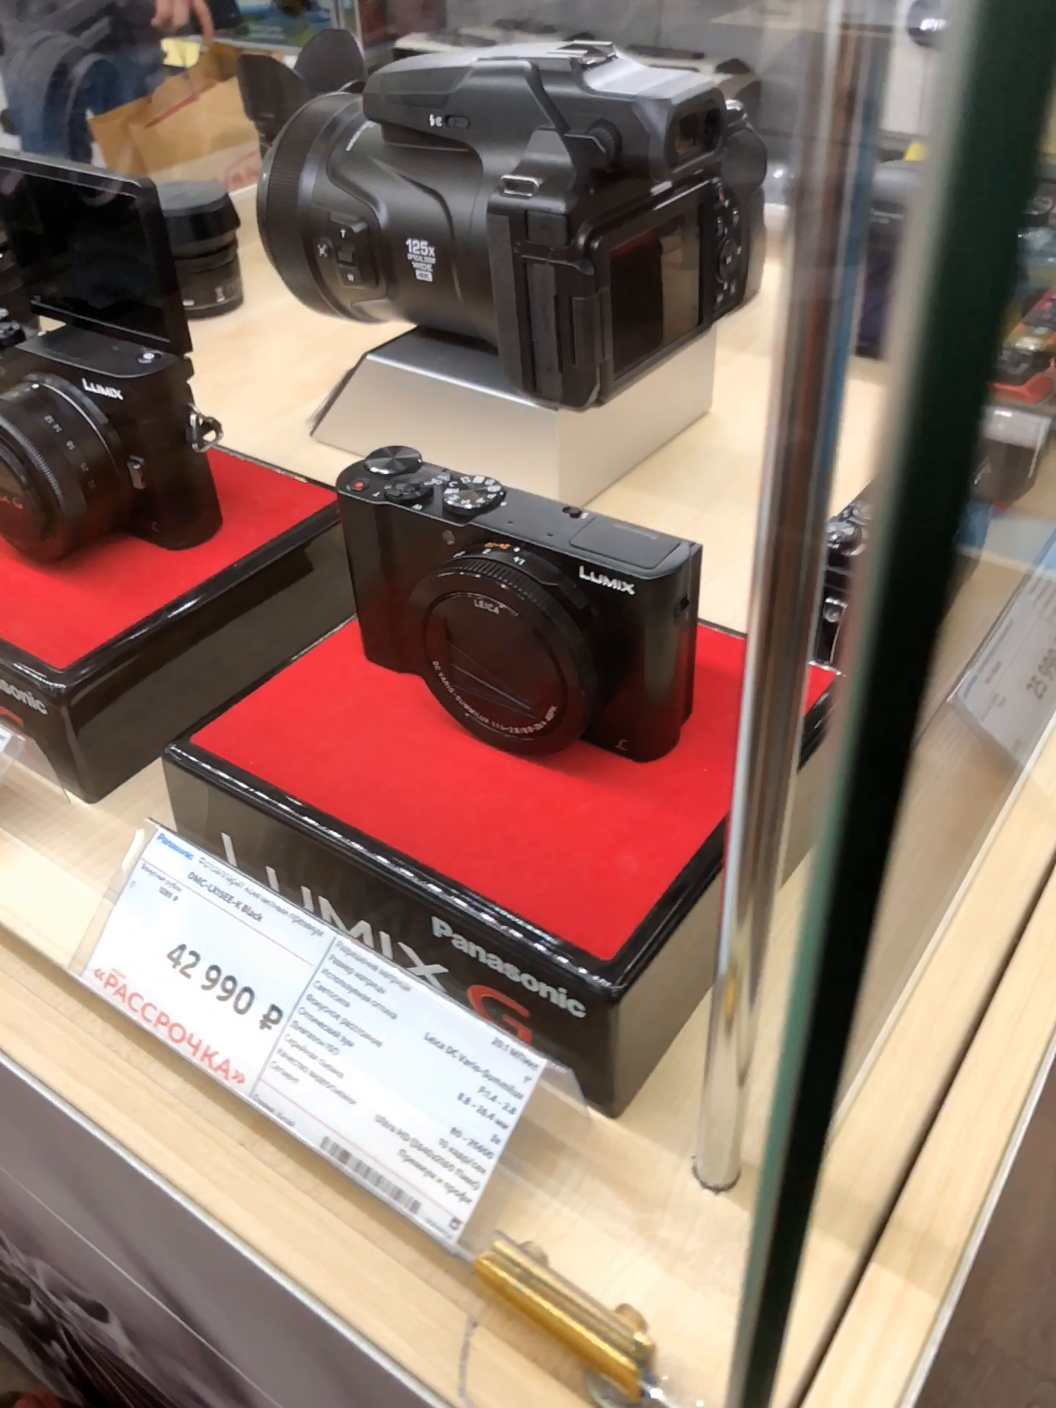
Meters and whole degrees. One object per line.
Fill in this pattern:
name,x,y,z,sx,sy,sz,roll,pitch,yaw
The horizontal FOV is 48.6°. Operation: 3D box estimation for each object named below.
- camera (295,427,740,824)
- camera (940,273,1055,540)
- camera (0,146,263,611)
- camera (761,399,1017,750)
camera,-0.004,-0.024,0.321,0.110,0.070,0.040,20,44,26
camera,0.221,-0.131,0.507,0.033,0.072,0.110,22,45,28
camera,-0.160,-0.110,0.386,0.110,0.112,0.066,22,45,28
camera,0.125,-0.047,0.403,0.033,0.072,0.110,24,46,29
